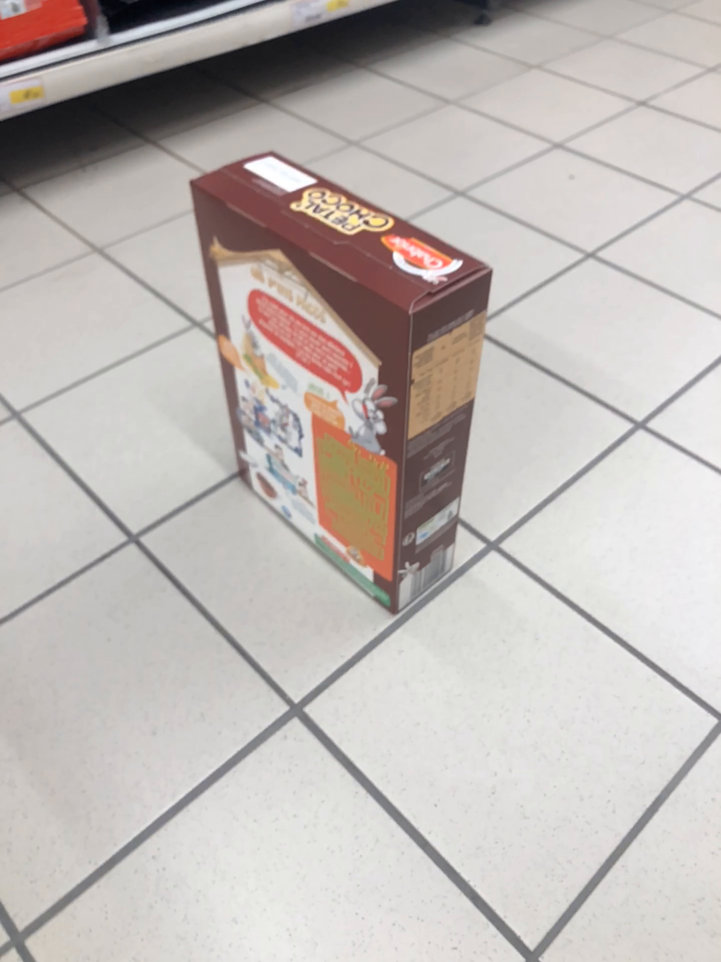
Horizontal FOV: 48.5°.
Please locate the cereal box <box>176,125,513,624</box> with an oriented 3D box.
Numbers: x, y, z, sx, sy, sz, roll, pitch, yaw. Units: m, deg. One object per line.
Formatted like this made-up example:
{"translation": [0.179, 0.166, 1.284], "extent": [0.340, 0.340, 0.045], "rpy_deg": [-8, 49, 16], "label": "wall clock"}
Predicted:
{"translation": [-0.015, -0.062, 0.546], "extent": [0.070, 0.278, 0.200], "rpy_deg": [-35, 55, -28], "label": "cereal box"}
